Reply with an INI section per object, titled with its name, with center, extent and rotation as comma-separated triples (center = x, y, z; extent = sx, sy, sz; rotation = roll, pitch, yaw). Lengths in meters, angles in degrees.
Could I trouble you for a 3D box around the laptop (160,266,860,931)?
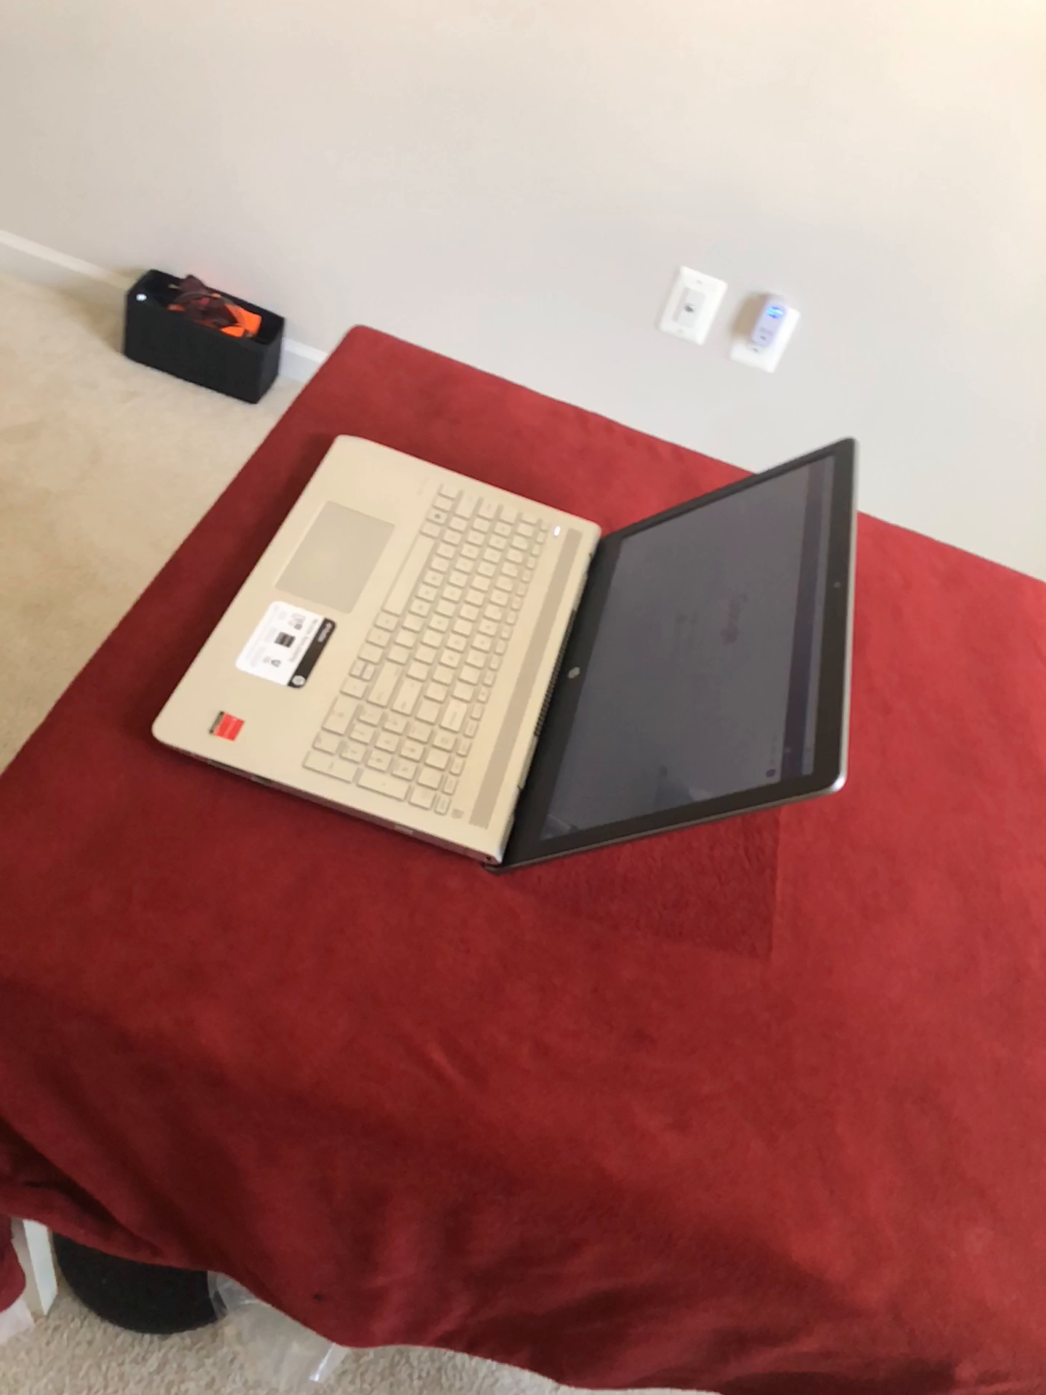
[laptop]
center = 0.013, -0.090, 0.811
extent = 0.395, 0.158, 0.362
rotation = 20, 46, -1
